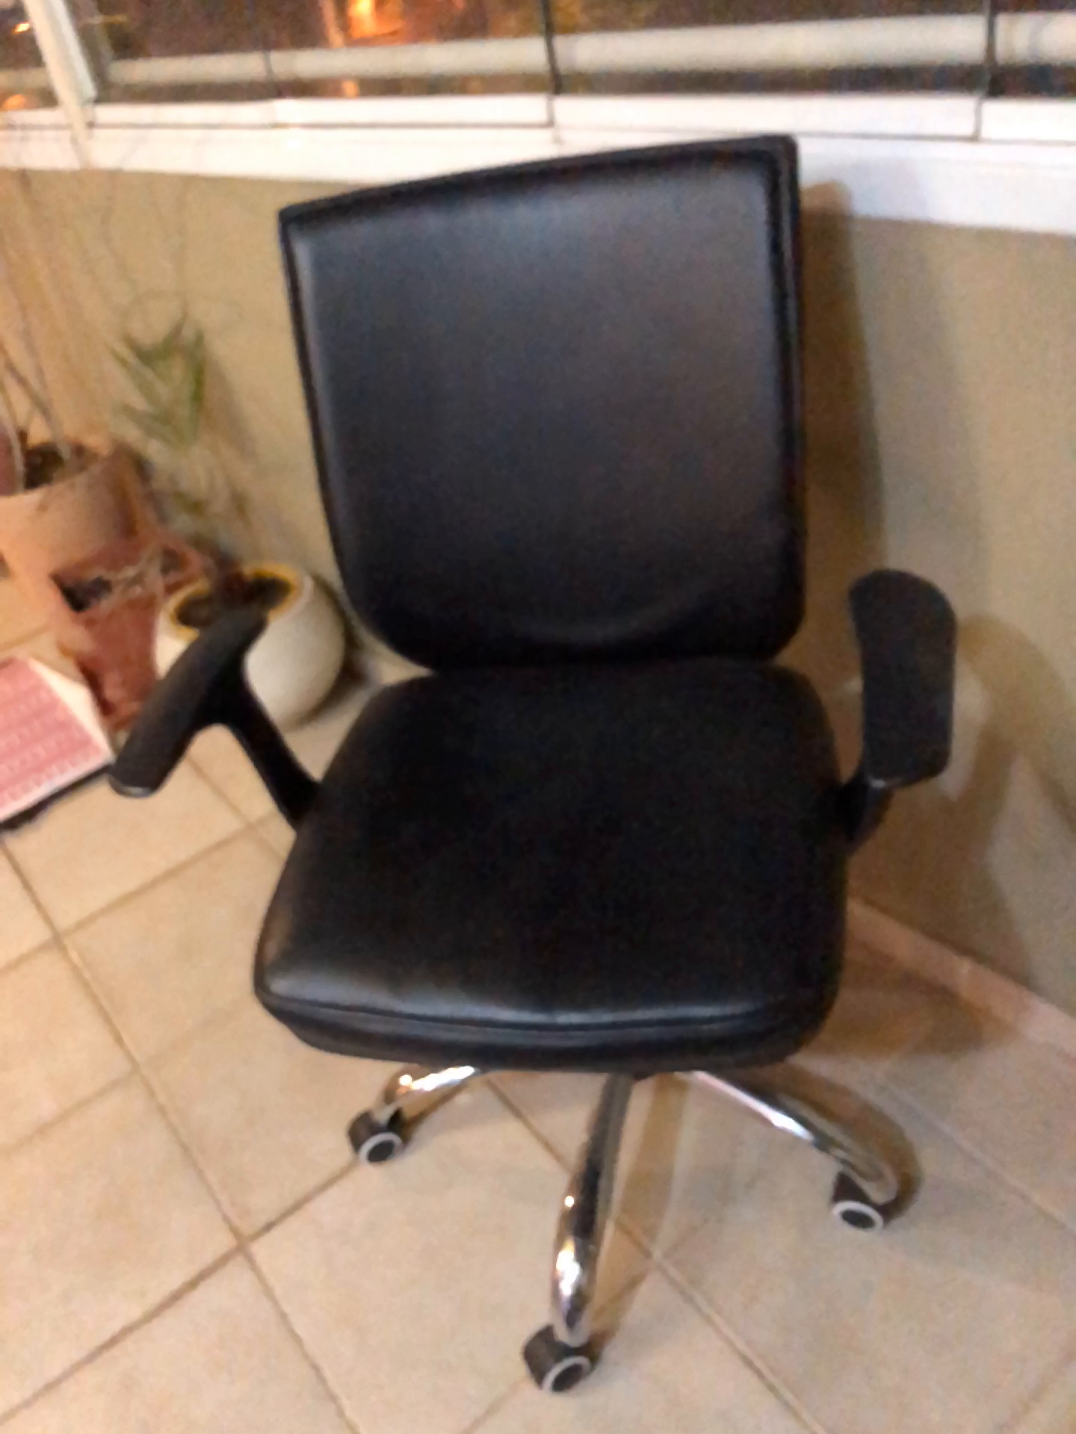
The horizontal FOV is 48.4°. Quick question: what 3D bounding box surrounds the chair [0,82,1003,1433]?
[{"bbox_3d":[0.011,0.063,1.077,0.660,0.933,0.664,-1,37,16],"label":"chair"}]
